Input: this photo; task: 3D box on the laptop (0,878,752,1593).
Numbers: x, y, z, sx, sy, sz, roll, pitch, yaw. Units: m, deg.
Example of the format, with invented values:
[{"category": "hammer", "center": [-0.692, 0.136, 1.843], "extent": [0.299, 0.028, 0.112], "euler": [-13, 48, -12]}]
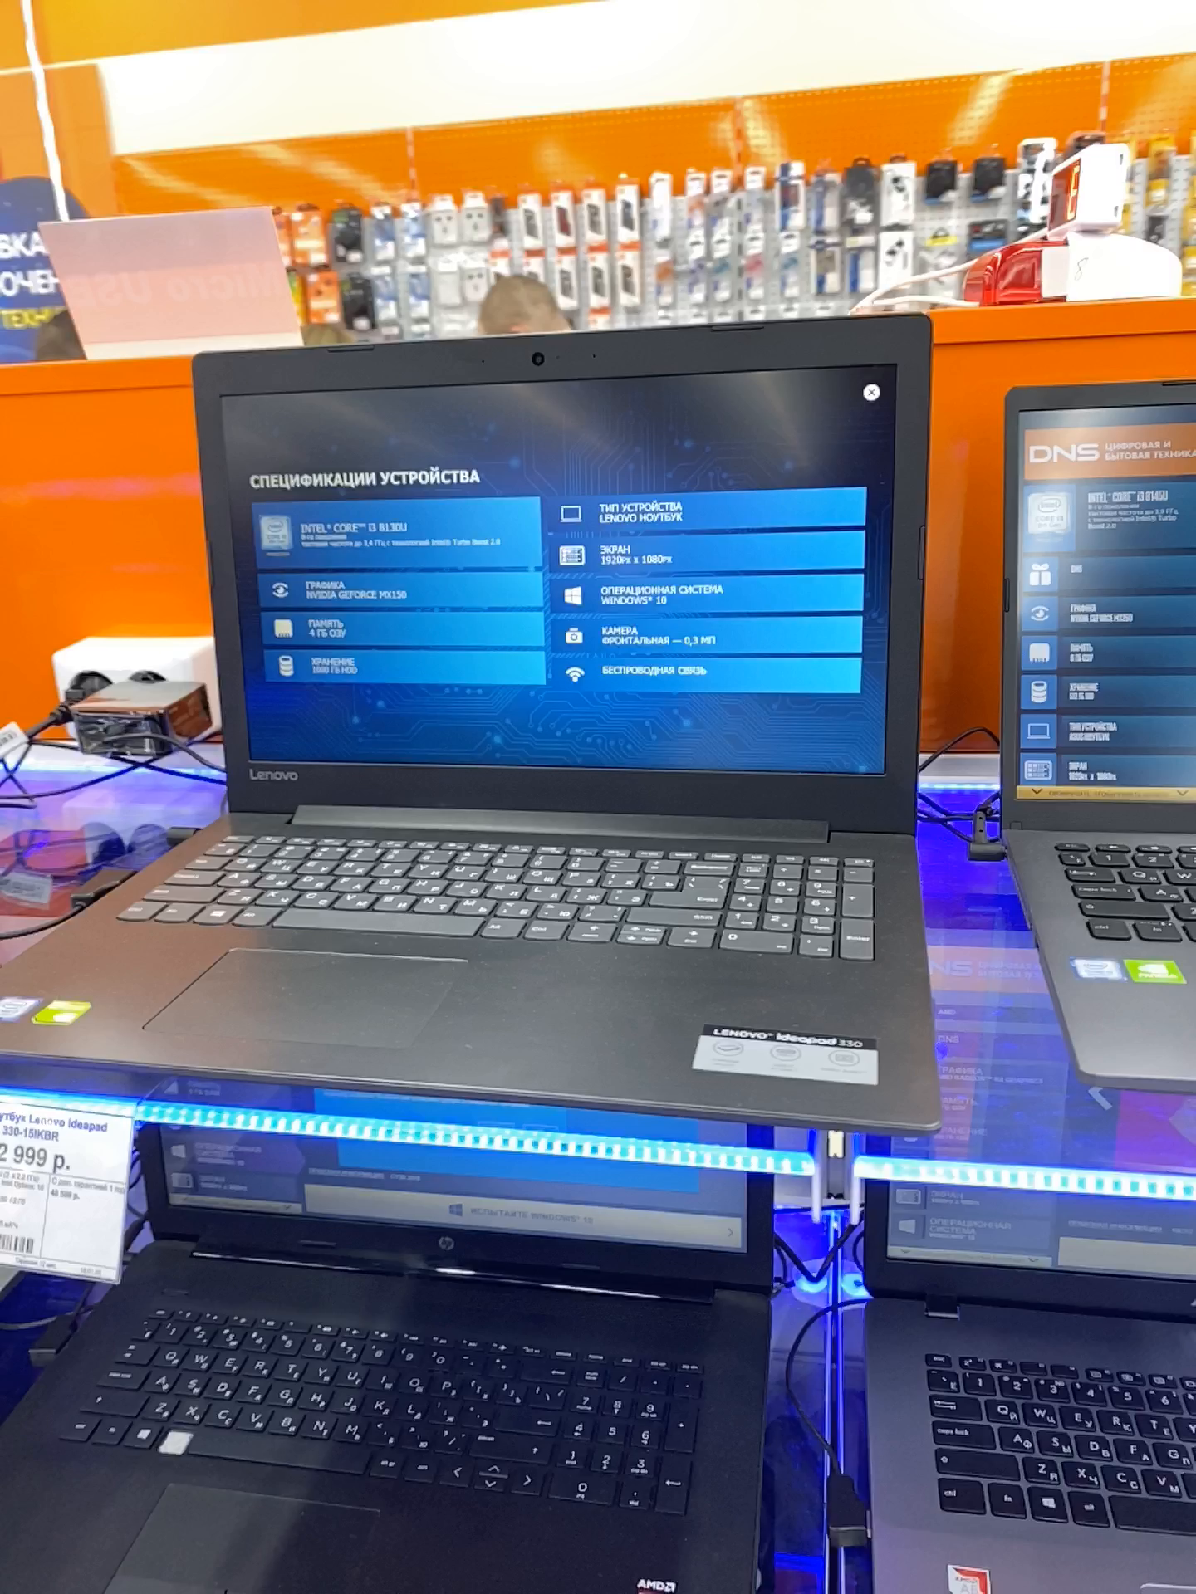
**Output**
[{"category": "laptop", "center": [-0.127, 0.215, 0.619], "extent": [0.400, 0.263, 0.272], "euler": [1, 16, 9]}]

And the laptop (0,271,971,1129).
[{"category": "laptop", "center": [-0.058, -0.066, 0.515], "extent": [0.377, 0.244, 0.290], "euler": [1, 18, 12]}]
